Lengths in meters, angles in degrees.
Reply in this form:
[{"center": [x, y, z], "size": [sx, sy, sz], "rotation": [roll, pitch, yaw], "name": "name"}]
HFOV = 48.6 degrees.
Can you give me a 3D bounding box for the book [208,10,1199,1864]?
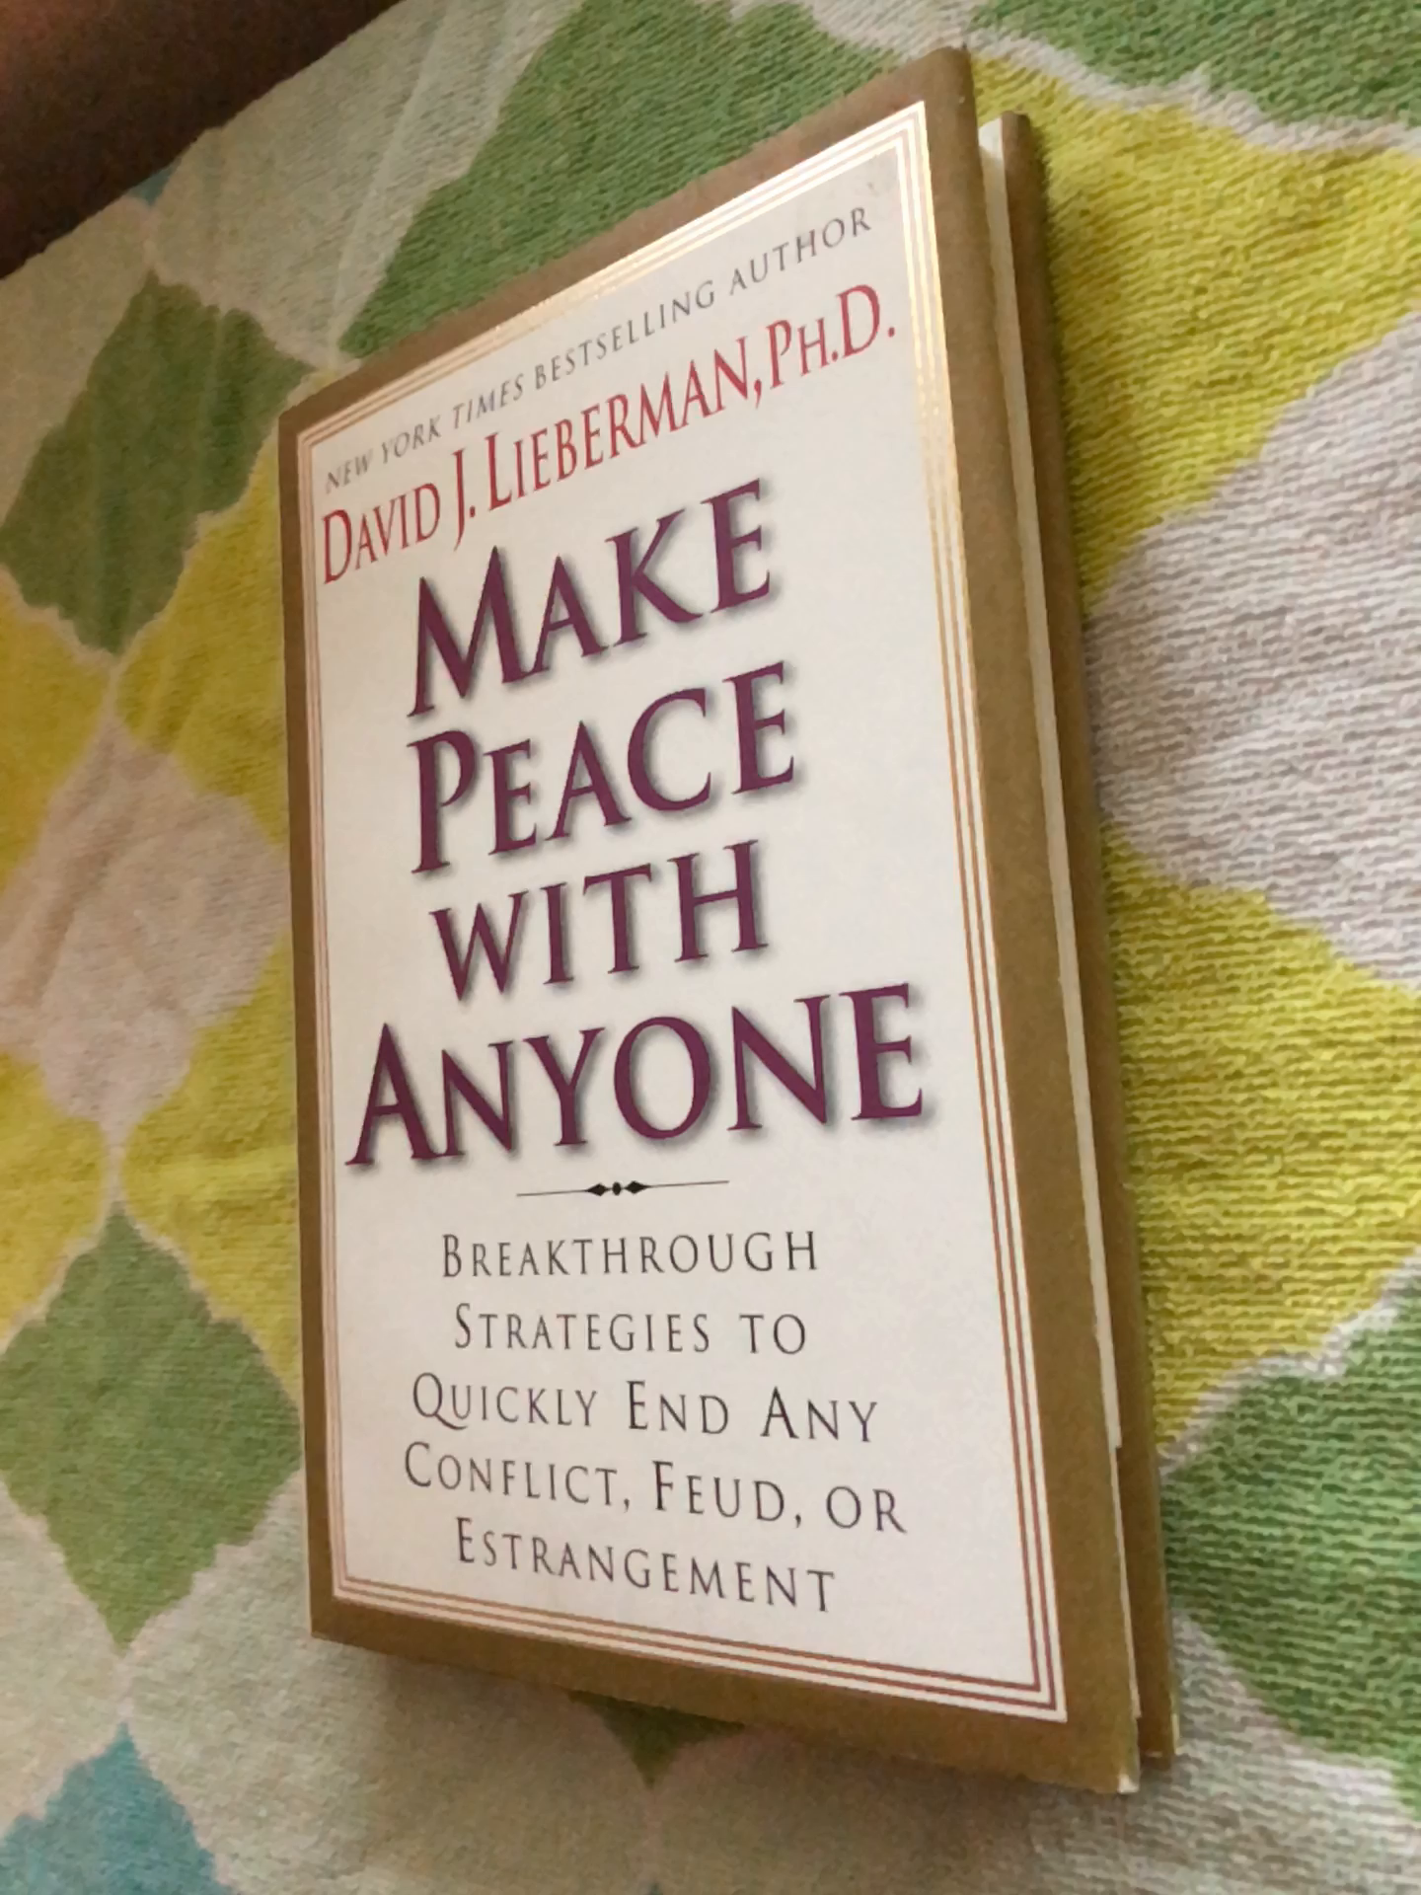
[{"center": [-0.017, 0.001, 0.227], "size": [0.146, 0.030, 0.204], "rotation": [-10, 78, 38], "name": "book"}]
